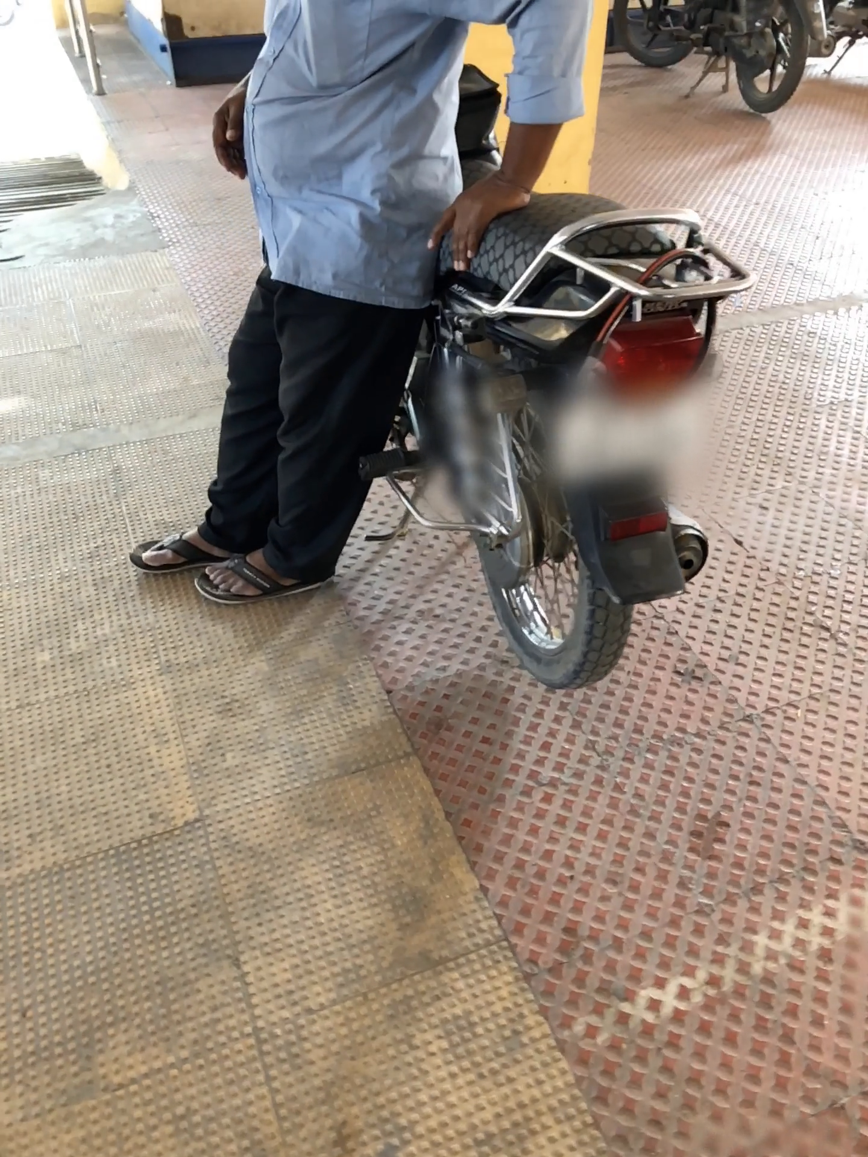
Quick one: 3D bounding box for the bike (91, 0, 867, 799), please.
[{"bbox_3d":[-0.082,-0.621,1.841,0.678,1.036,1.683,-14,42,-17],"label":"bike"}]
